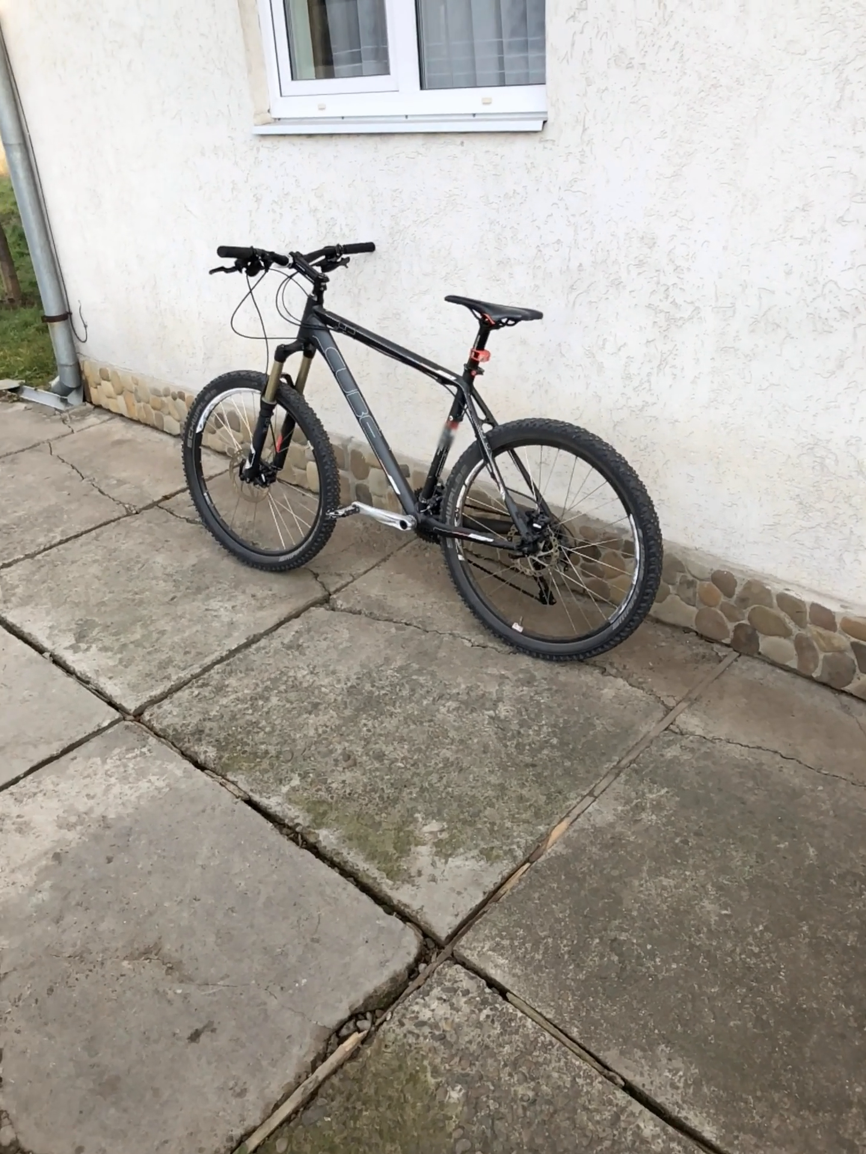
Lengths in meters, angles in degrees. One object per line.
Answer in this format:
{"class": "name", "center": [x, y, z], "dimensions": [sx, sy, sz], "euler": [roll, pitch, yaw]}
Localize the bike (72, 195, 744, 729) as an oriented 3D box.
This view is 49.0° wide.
{"class": "bike", "center": [-0.121, -0.471, 2.861], "dimensions": [1.775, 1.090, 0.689], "euler": [18, 35, 32]}
